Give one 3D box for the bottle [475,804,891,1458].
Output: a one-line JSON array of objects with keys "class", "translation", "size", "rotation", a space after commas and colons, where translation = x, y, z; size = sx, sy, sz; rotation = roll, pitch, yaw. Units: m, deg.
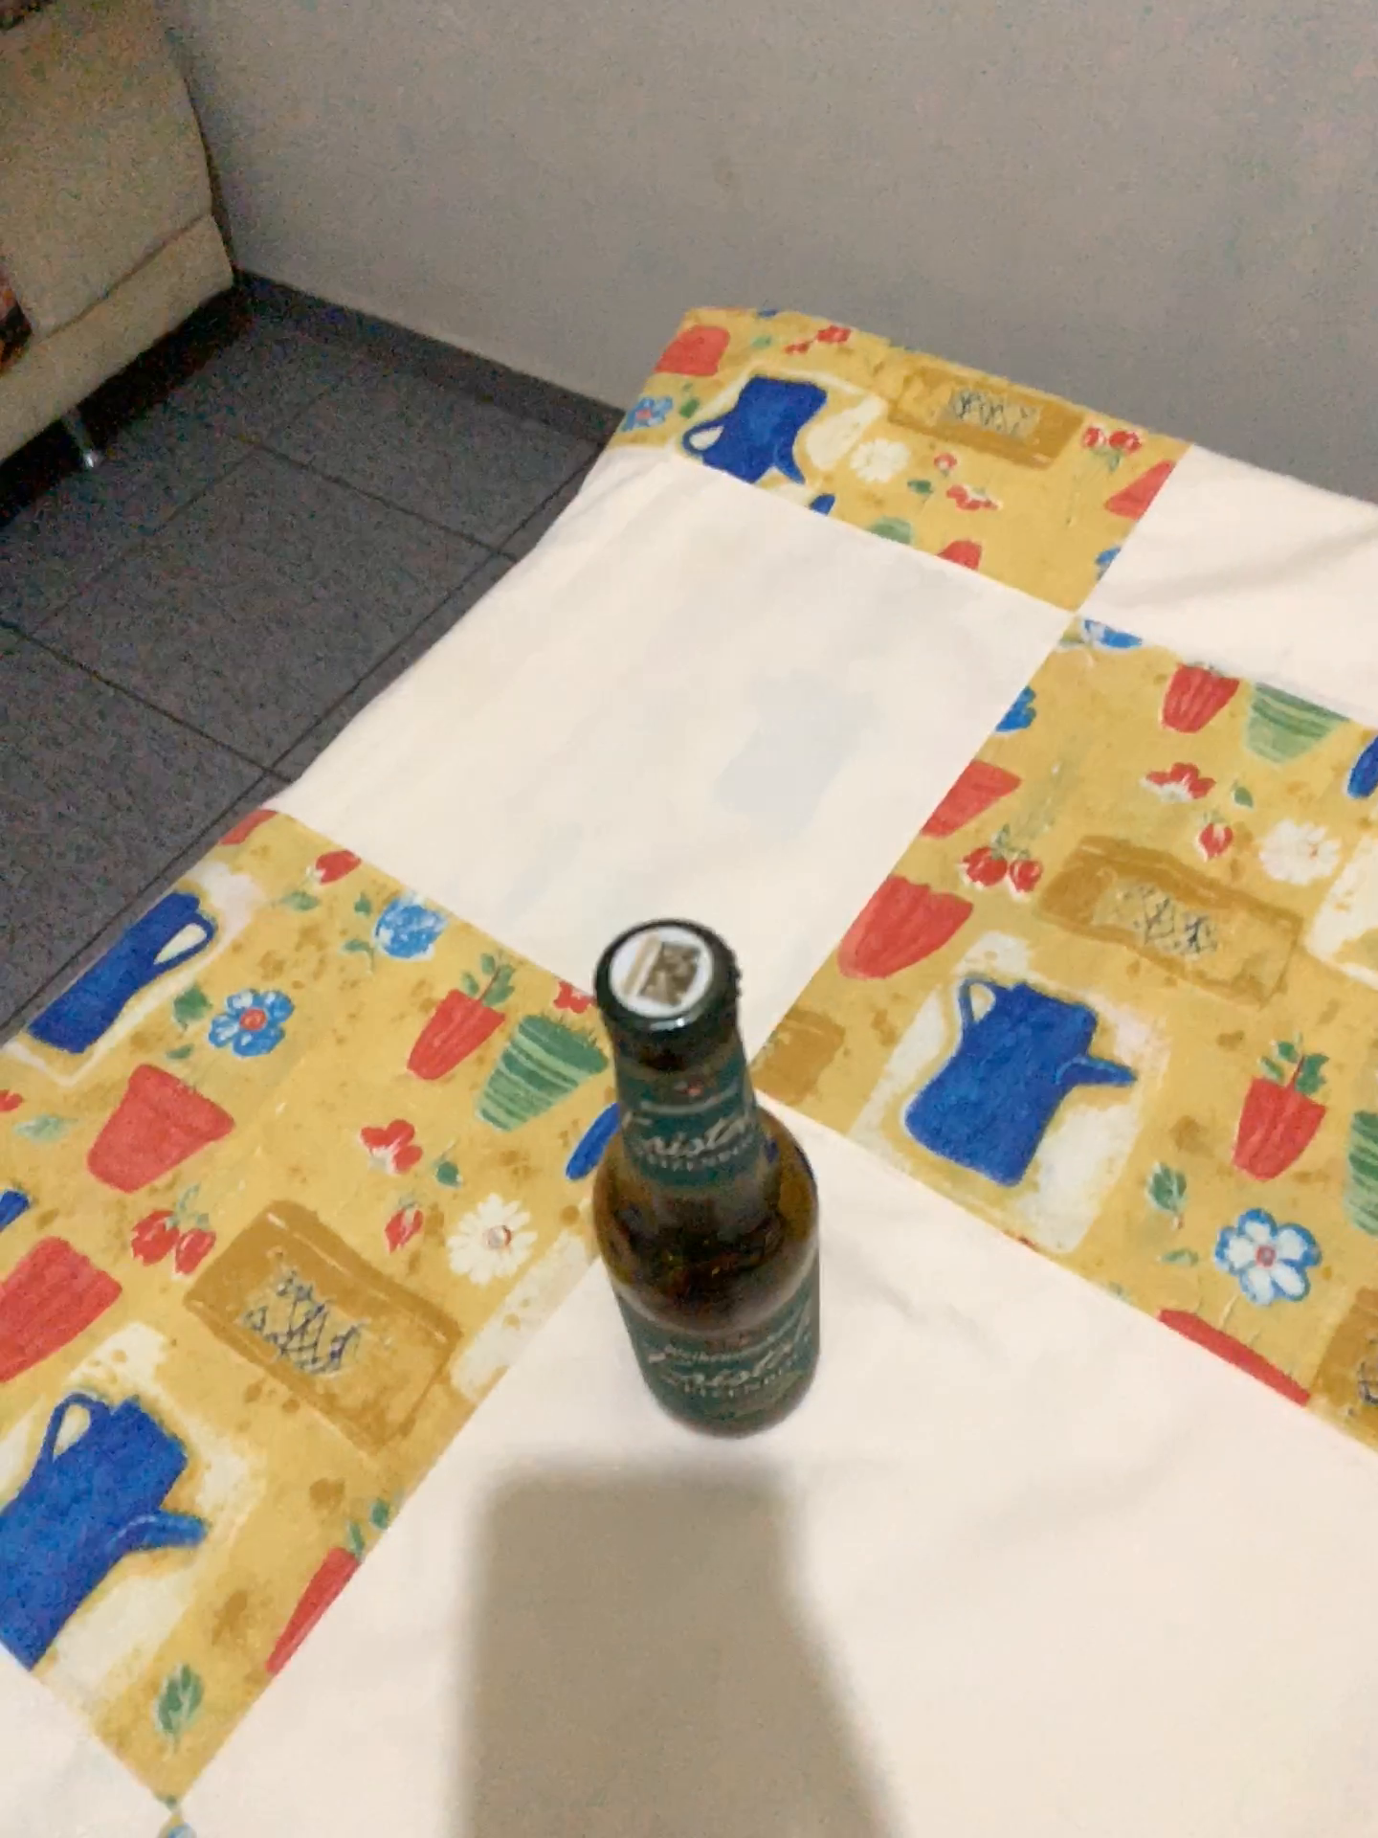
[{"class": "bottle", "translation": [0.005, 0.072, 0.362], "size": [0.070, 0.229, 0.060], "rotation": [-11, 55, -2]}]
